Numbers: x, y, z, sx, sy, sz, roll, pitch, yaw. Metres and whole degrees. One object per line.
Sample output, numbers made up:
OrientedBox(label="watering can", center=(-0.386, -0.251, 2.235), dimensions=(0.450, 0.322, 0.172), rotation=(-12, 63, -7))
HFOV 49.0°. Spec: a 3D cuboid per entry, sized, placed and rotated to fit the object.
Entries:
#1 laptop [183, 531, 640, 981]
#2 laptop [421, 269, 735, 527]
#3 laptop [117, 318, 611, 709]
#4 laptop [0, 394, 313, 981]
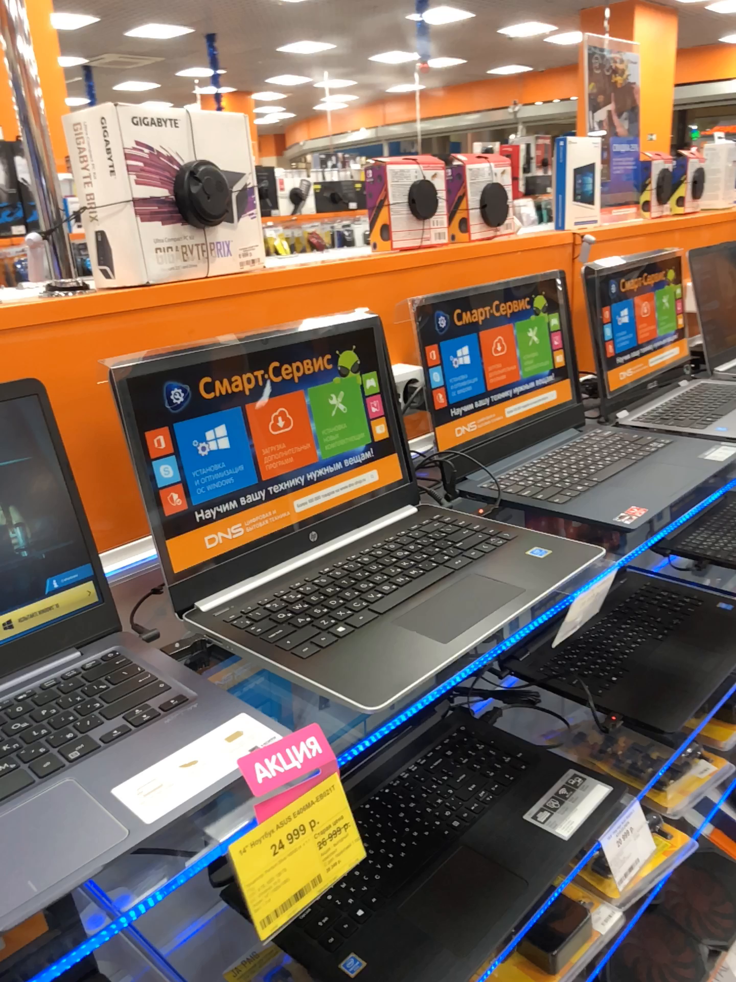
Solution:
OrientedBox(label="laptop", center=(0.058, 0.238, 0.796), dimensions=(0.251, 0.245, 0.363), rotation=(14, 26, 42))
OrientedBox(label="laptop", center=(0.257, -0.127, 0.925), dimensions=(0.277, 0.205, 0.248), rotation=(-23, 27, -40))
OrientedBox(label="laptop", center=(0.008, -0.020, 0.695), dimensions=(0.267, 0.197, 0.314), rotation=(15, 26, 41))
OrientedBox(label="laptop", center=(-0.260, 0.078, 0.463), dimensions=(0.279, 0.199, 0.314), rotation=(12, 24, 41))
